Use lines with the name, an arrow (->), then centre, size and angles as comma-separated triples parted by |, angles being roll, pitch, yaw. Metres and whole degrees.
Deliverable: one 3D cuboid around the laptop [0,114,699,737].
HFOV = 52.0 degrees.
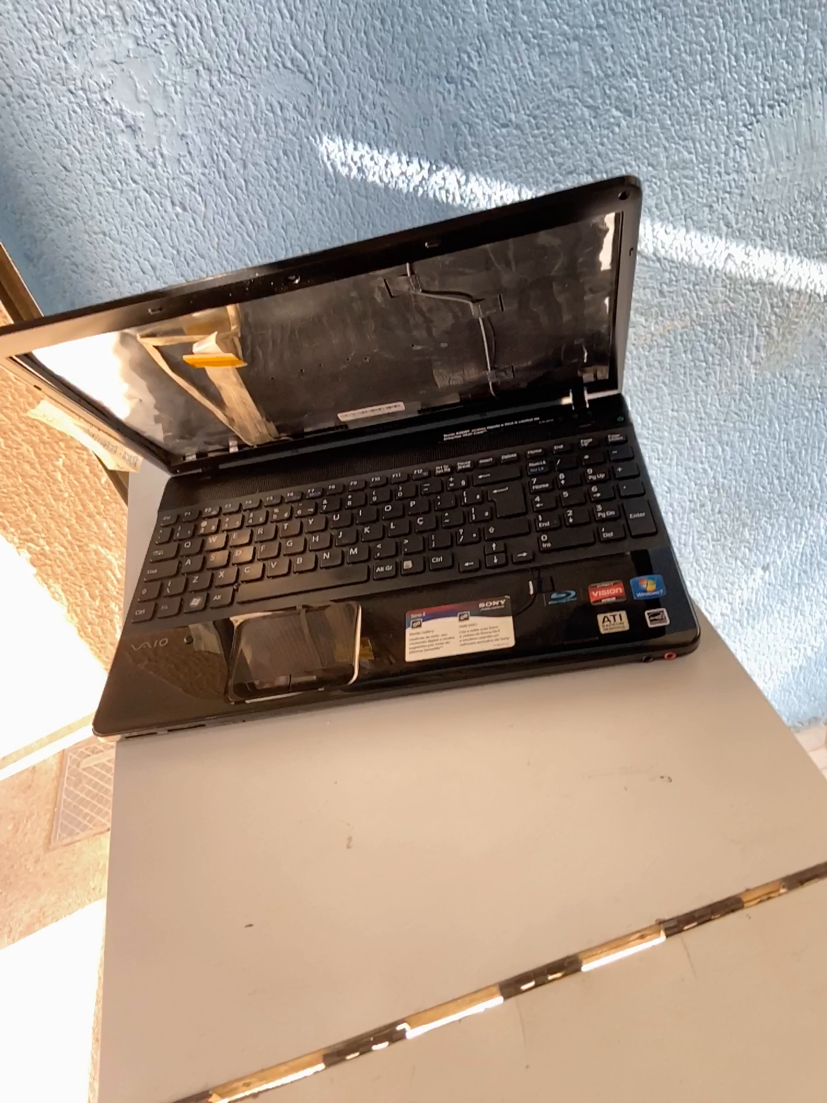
laptop -> -0.046, -0.075, 0.512 | 0.364, 0.193, 0.243 | -10, 42, 9
